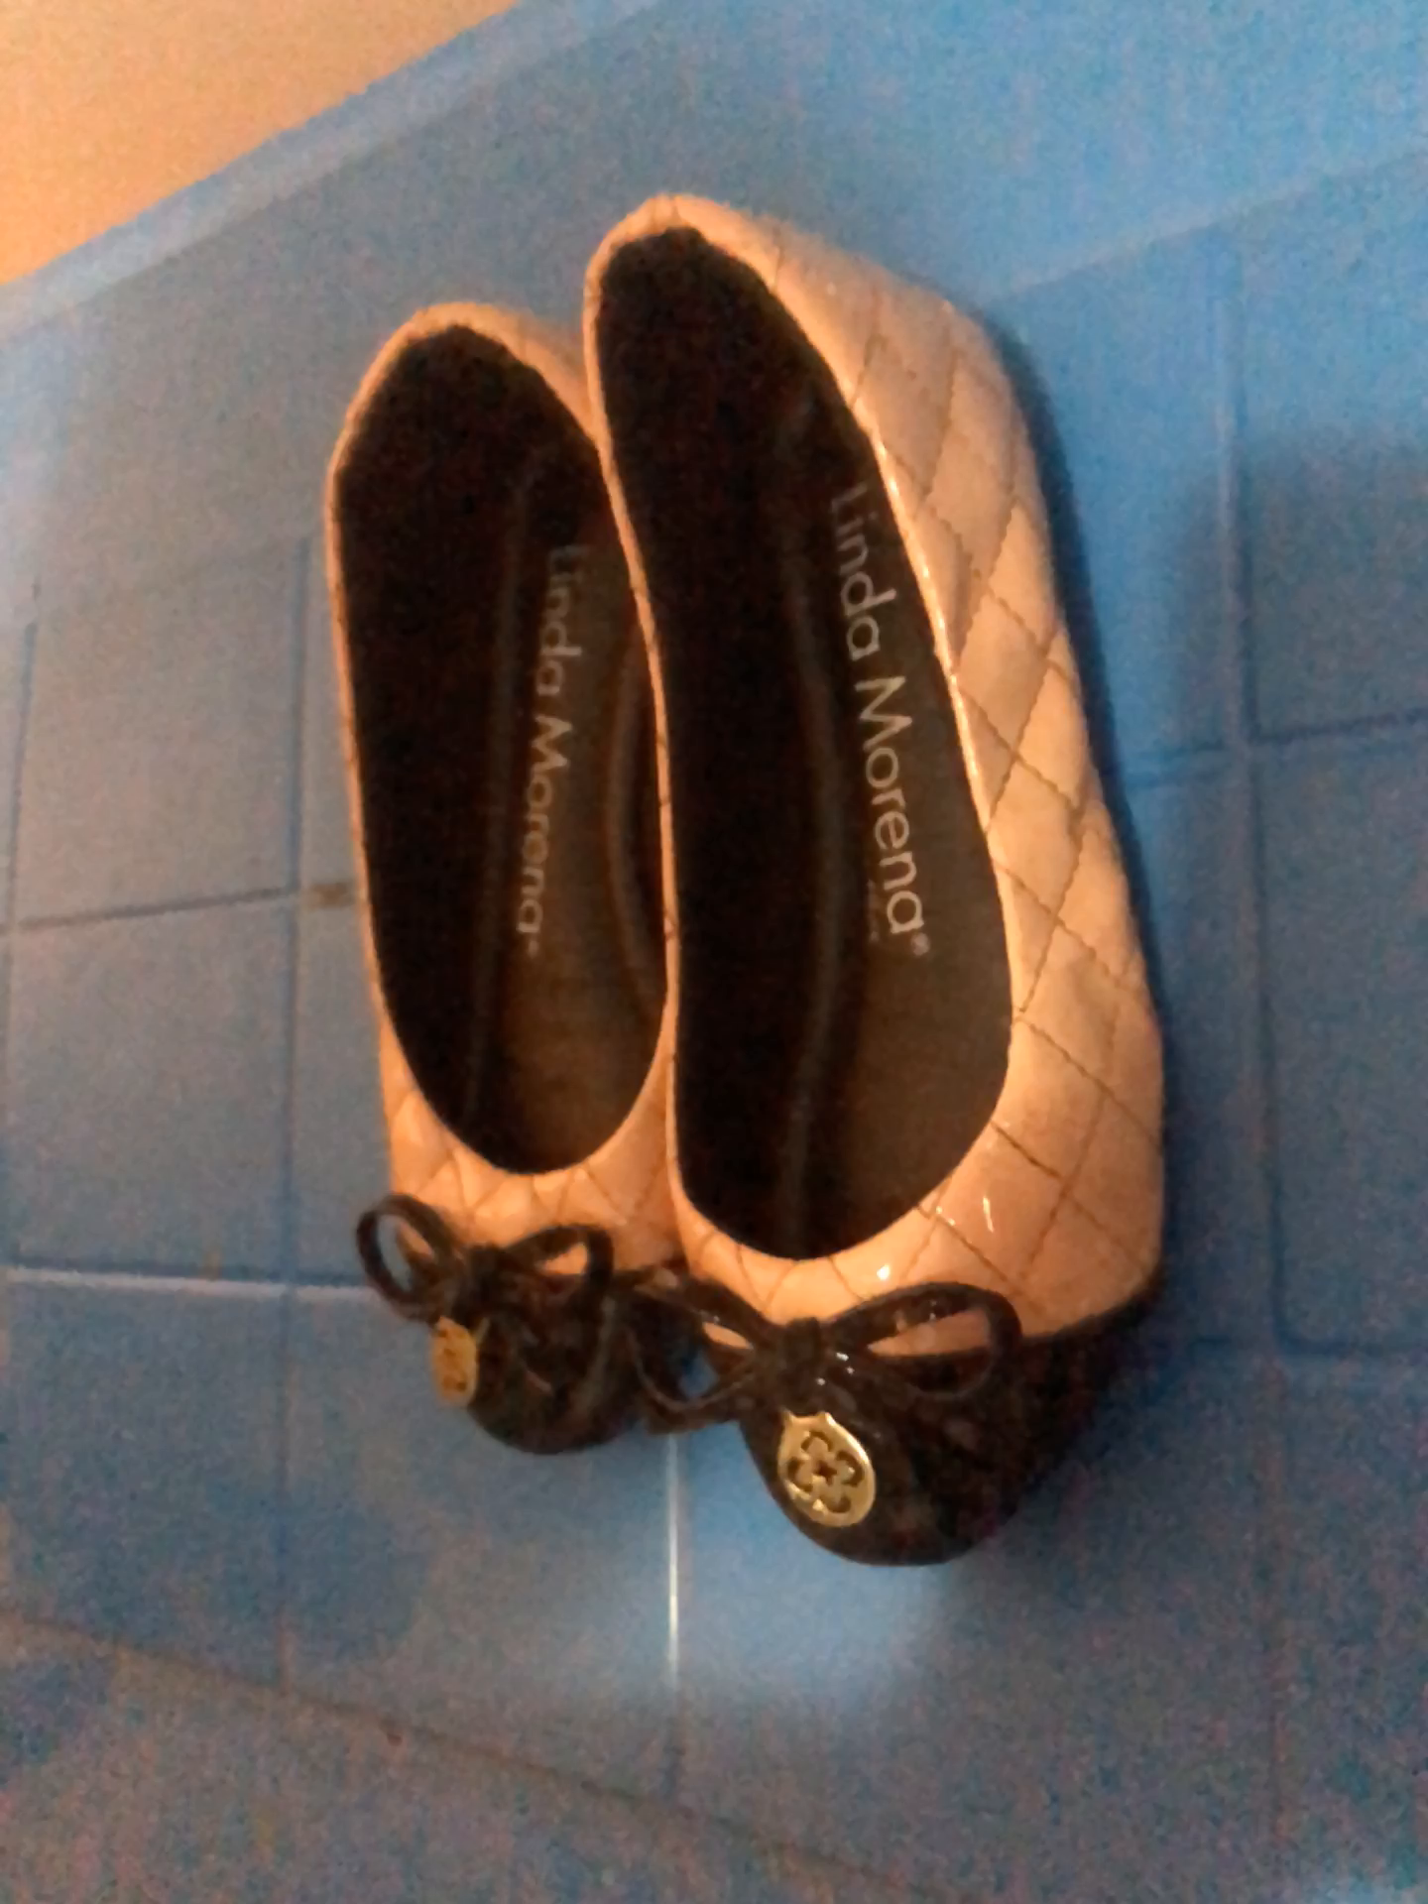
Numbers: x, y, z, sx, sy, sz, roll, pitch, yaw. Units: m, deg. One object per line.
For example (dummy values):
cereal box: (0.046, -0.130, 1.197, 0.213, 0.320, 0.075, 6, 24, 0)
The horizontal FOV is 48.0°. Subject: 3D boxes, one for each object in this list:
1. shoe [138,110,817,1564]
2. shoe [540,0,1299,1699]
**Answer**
shoe: (-0.035, -0.014, 0.260, 0.070, 0.080, 0.190, -3, 84, 35)
shoe: (0.029, -0.014, 0.224, 0.070, 0.080, 0.190, -5, 83, 35)
